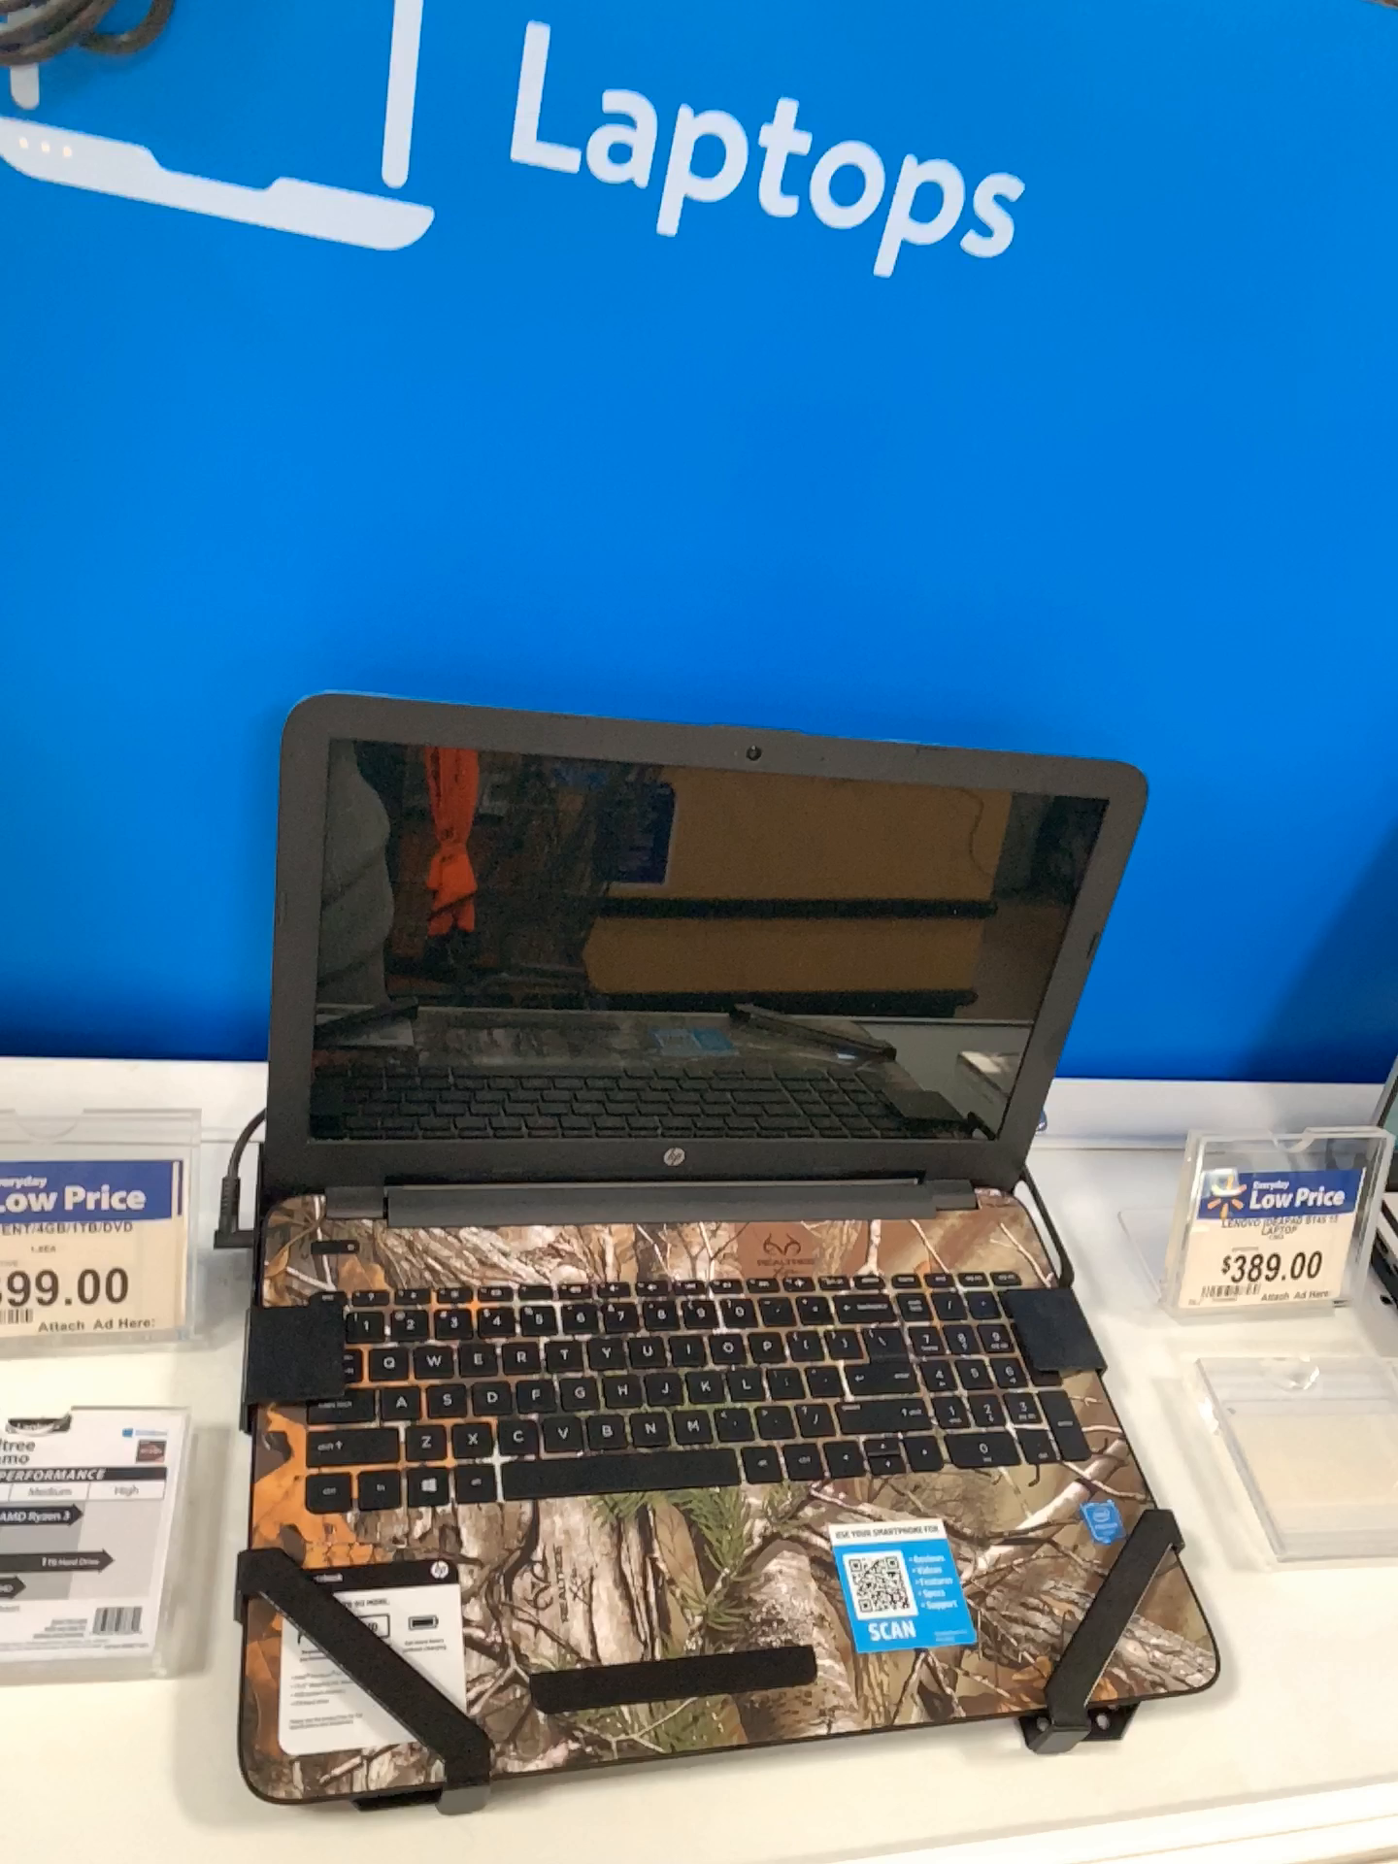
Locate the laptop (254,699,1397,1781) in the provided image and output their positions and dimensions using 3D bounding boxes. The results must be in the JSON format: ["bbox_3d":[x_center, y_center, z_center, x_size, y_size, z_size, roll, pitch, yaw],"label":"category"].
[{"bbox_3d":[0.027,0.104,0.560,0.374,0.227,0.304,2,40,-16],"label":"laptop"}]
